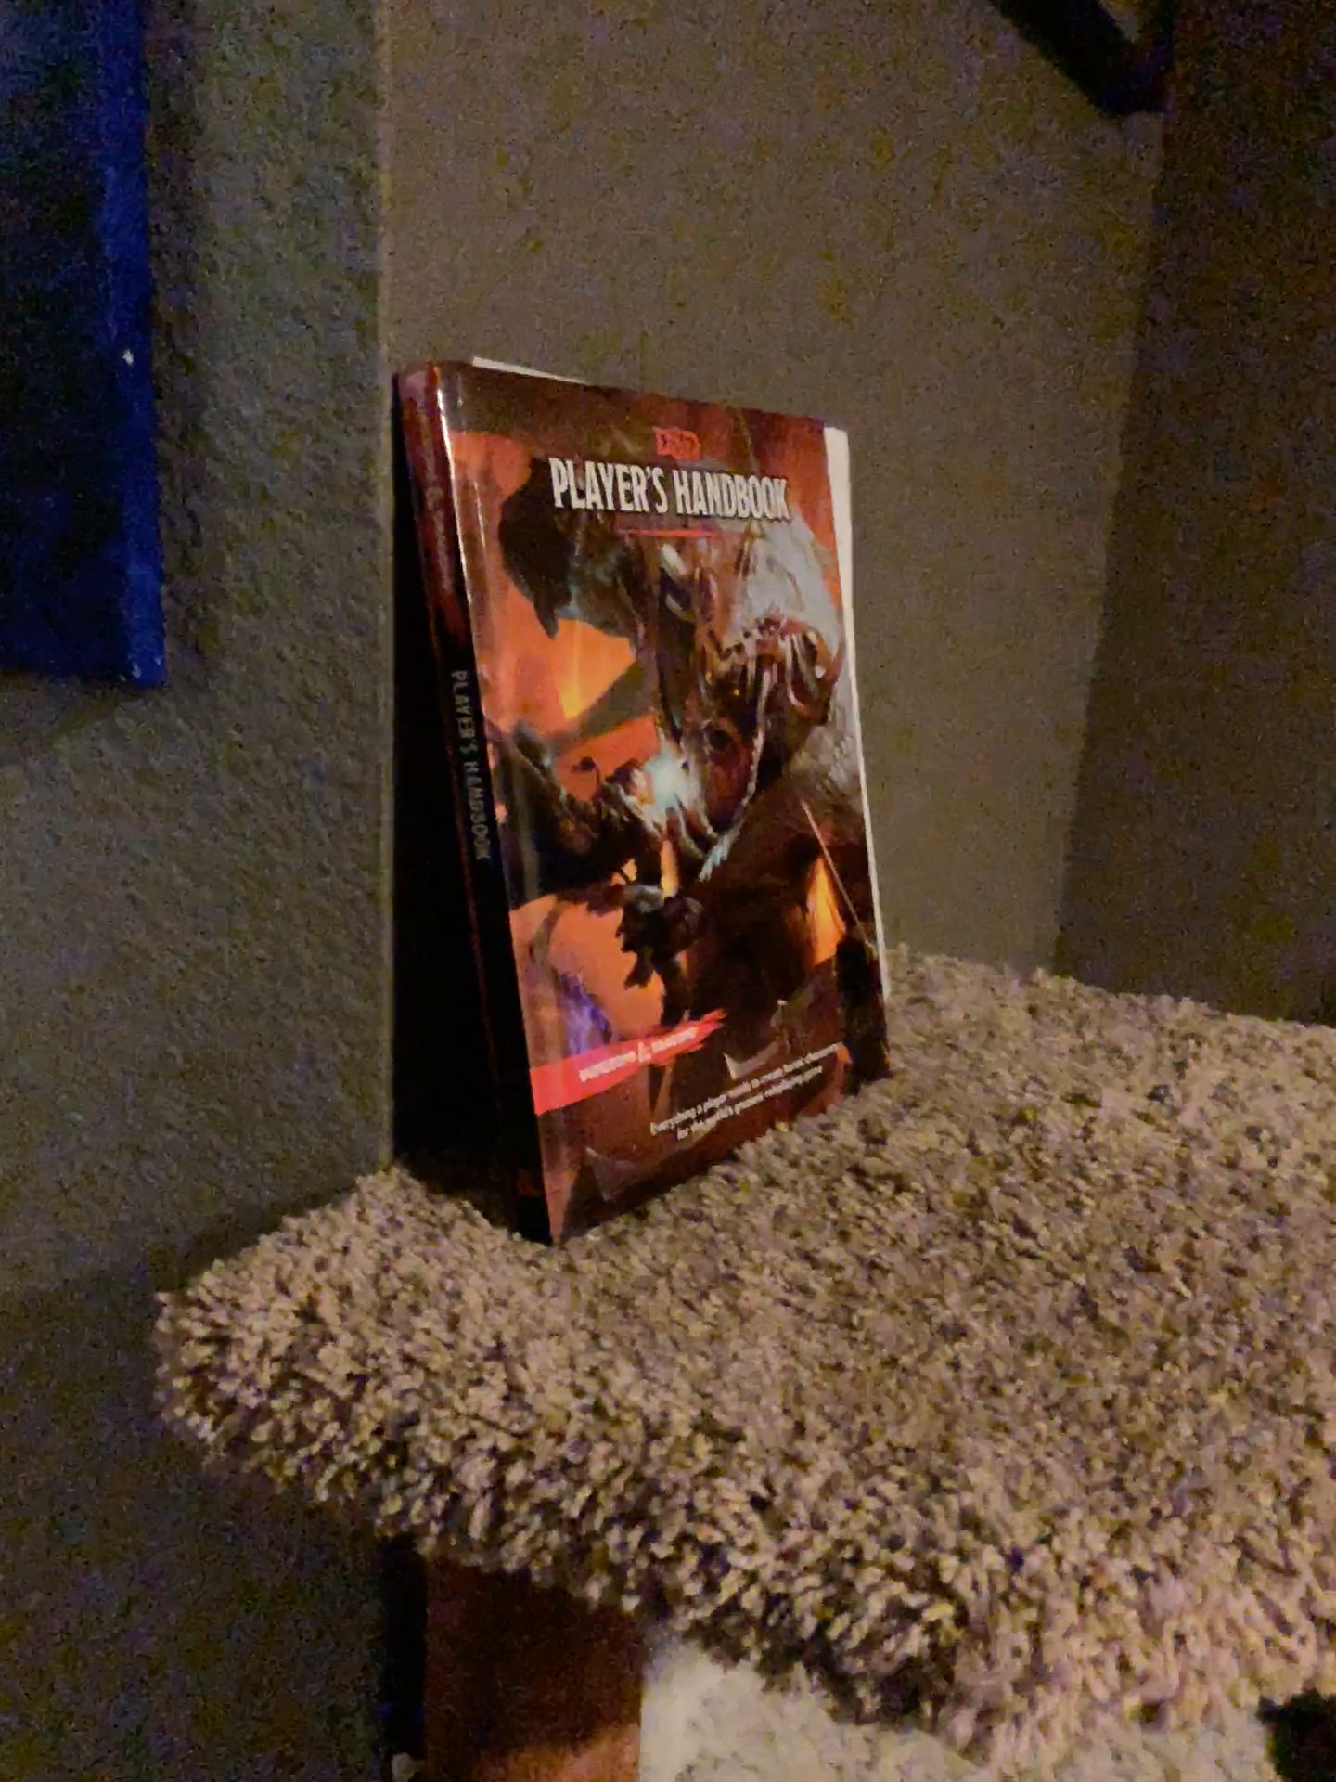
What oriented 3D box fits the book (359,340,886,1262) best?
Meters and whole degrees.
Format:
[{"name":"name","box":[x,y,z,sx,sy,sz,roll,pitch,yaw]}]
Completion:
[{"name":"book","box":[0.000,-0.041,0.567,0.040,0.290,0.230,2,10,38]}]
